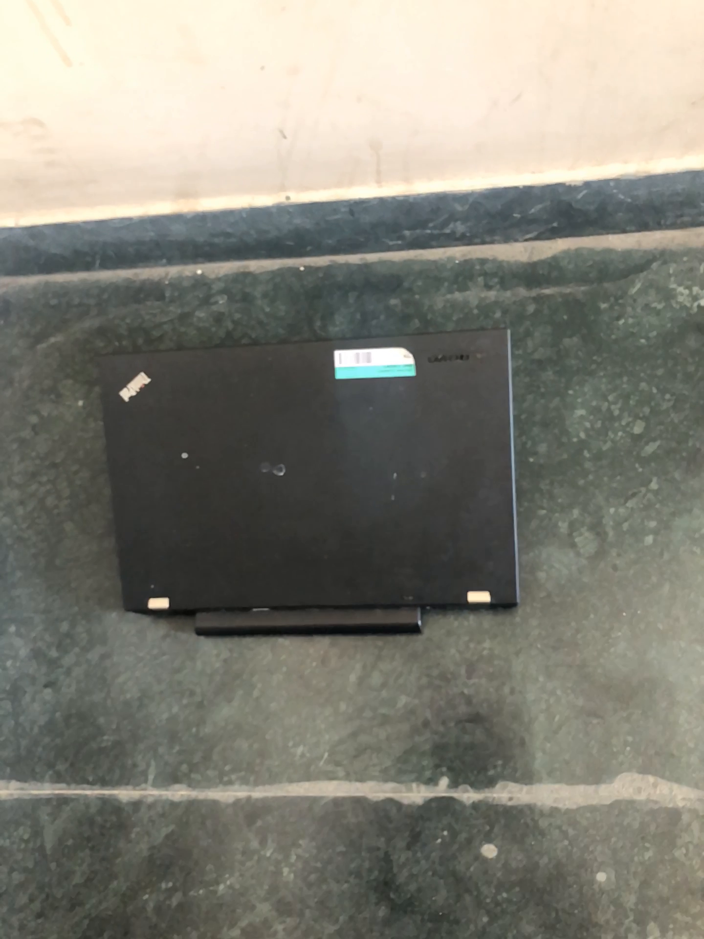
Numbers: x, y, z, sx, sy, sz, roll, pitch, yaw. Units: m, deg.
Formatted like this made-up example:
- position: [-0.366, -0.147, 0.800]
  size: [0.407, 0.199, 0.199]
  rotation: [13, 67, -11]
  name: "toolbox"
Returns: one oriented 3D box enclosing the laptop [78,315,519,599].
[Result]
- position: [-0.039, -0.007, 0.691]
  size: [0.349, 0.094, 0.227]
  rotation: [-2, 70, 6]
  name: "laptop"
